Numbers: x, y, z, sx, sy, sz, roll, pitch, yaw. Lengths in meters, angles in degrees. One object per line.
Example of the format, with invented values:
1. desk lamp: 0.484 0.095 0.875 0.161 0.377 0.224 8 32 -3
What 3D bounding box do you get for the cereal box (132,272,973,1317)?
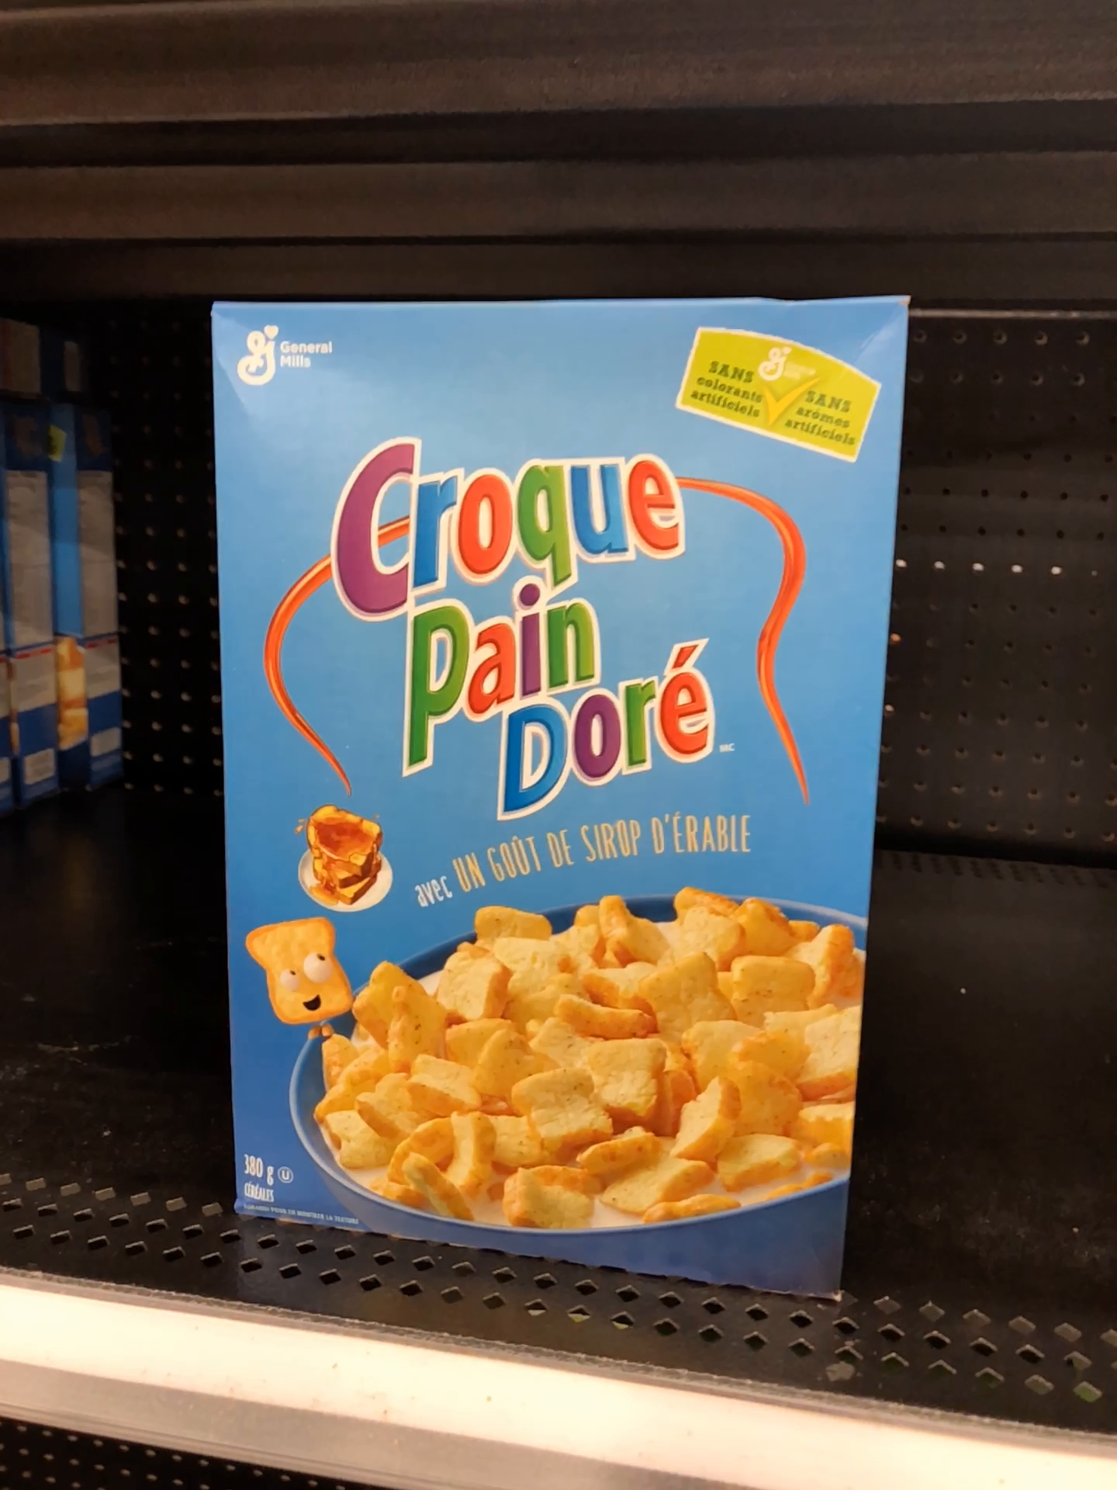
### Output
1. cereal box: -0.007 0.011 0.352 0.210 0.269 0.050 4 11 10
